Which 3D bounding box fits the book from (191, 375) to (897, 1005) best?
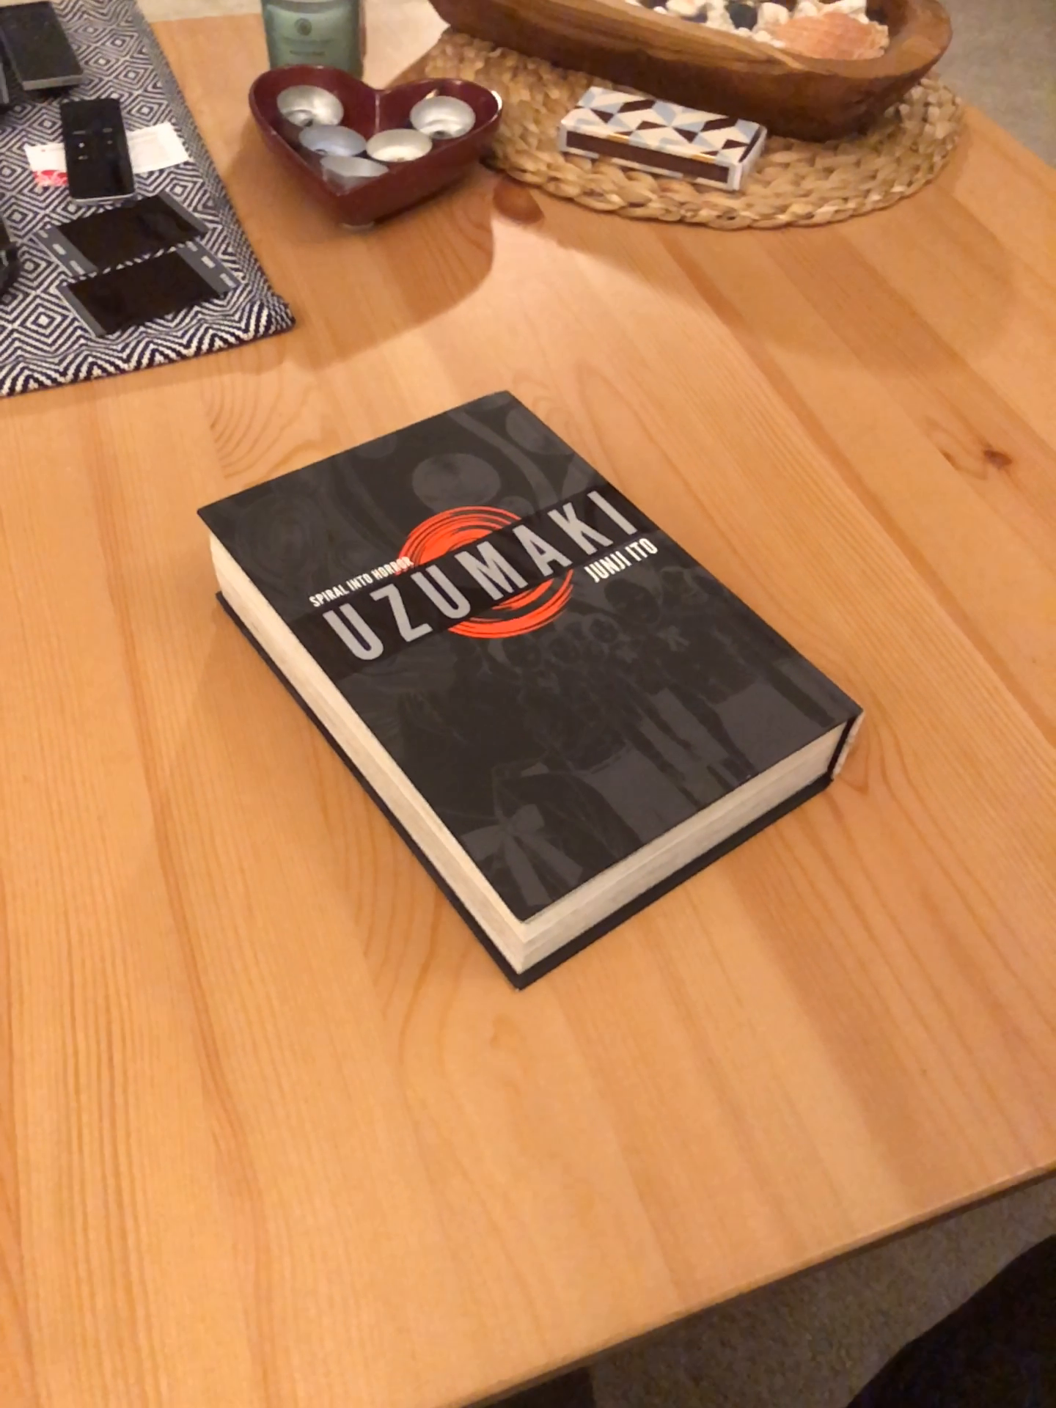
[{"bbox_3d":[-0.001,-0.022,0.425,0.157,0.048,0.204,-28,59,-24],"label":"book"}]
